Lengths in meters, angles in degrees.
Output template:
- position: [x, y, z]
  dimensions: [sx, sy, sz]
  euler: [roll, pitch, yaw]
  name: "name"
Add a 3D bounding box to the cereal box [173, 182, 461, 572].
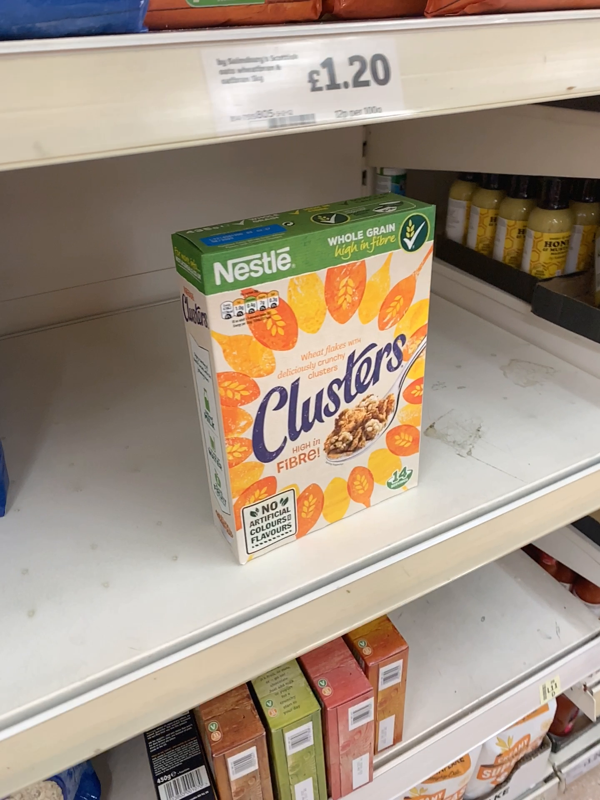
- position: [0.022, -0.018, 0.499]
  dimensions: [0.200, 0.268, 0.060]
  euler: [-19, 34, -25]
  name: "cereal box"
